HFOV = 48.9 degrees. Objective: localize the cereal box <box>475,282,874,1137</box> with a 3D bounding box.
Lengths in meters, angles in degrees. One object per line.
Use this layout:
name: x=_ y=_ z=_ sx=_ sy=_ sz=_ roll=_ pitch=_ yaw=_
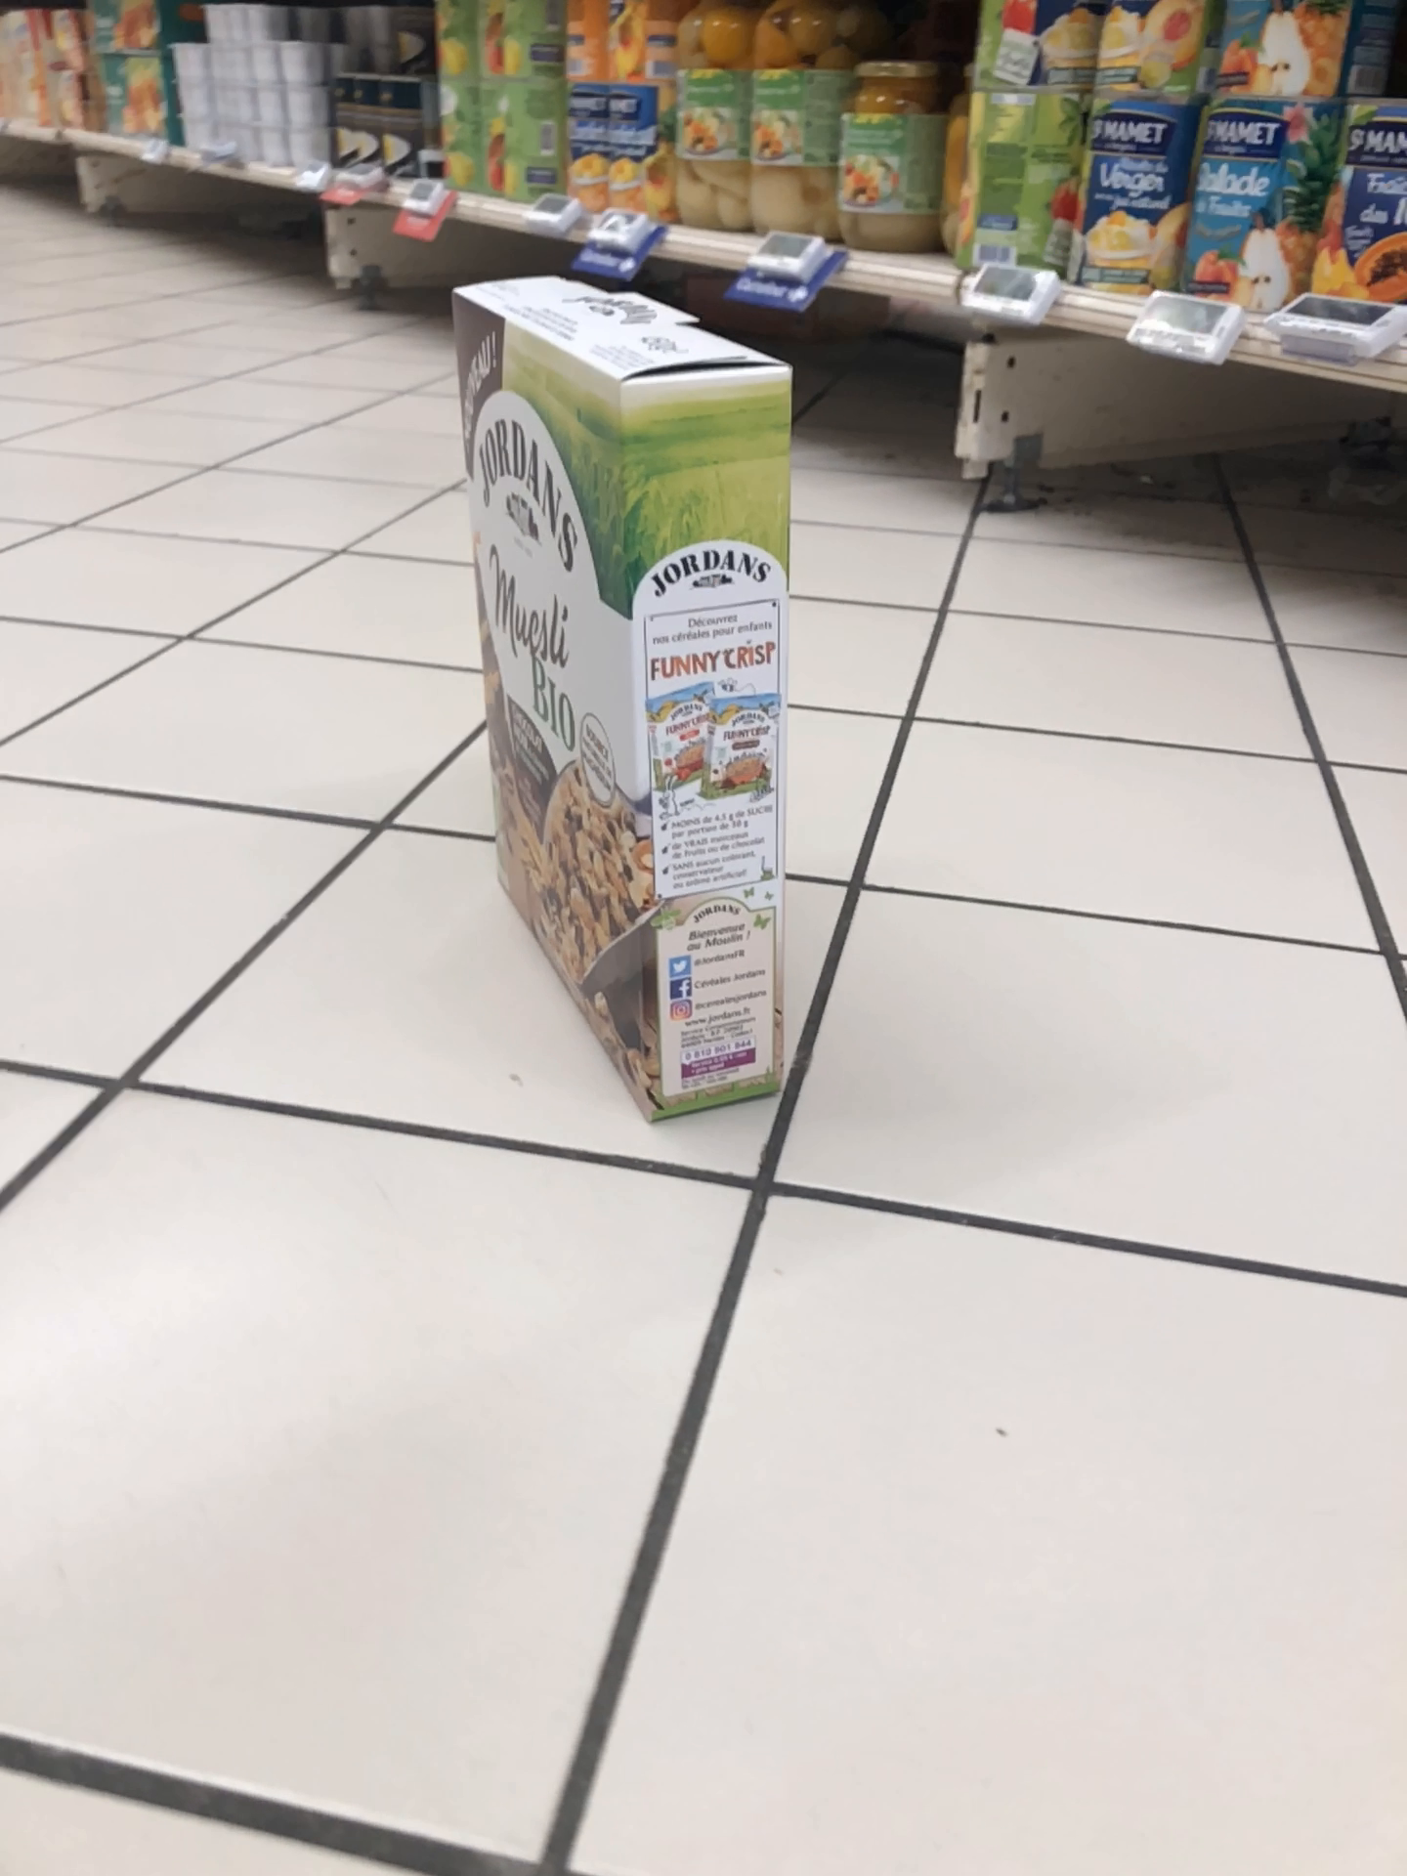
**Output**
cereal box: x=-0.020 y=-0.082 z=0.483 sx=0.050 sy=0.209 sz=0.191 roll=-9 pitch=30 yaw=-19
